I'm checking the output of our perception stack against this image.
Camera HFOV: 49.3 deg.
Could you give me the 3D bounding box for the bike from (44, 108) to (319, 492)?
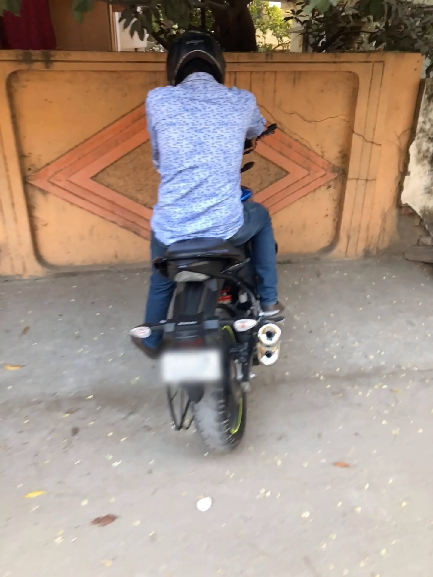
[{"bbox_3d":[-0.110,-0.202,2.454,0.793,1.188,1.899,1,26,1],"label":"bike"}]
